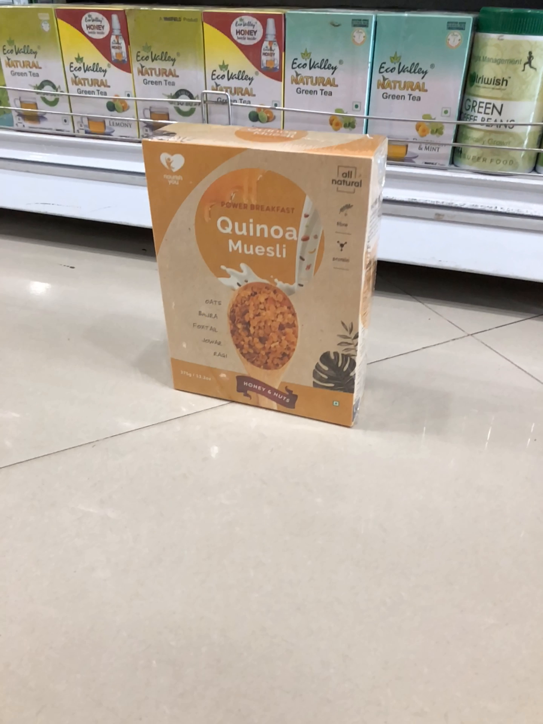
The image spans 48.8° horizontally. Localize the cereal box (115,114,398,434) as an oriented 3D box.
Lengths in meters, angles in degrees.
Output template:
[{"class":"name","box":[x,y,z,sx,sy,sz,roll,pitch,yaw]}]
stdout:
[{"class":"cereal box","box":[-0.009,-0.063,0.434,0.170,0.199,0.060,11,35,18]}]
